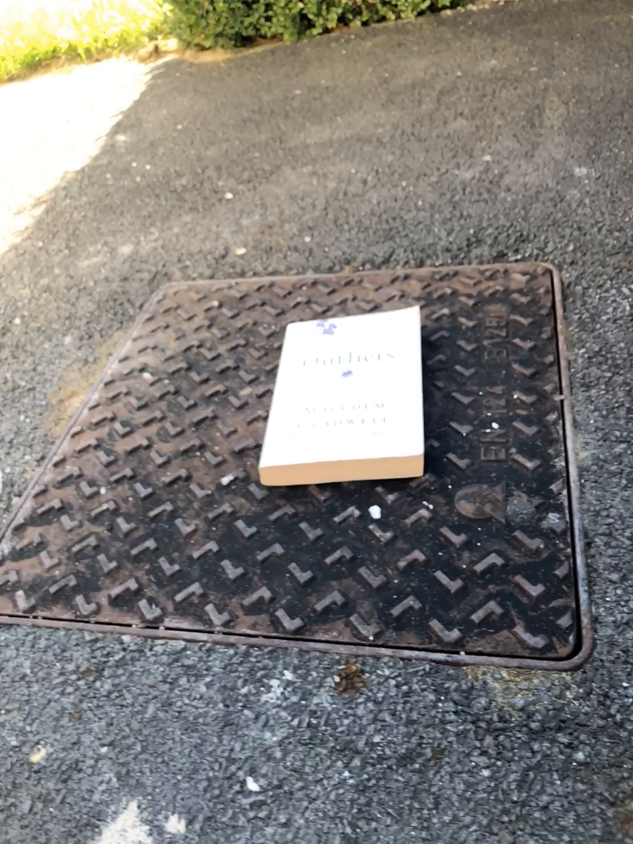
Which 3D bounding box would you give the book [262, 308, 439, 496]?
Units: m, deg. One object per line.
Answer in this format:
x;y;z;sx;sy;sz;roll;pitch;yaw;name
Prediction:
0.036;-0.026;0.641;0.139;0.030;0.211;-4;42;10;book
